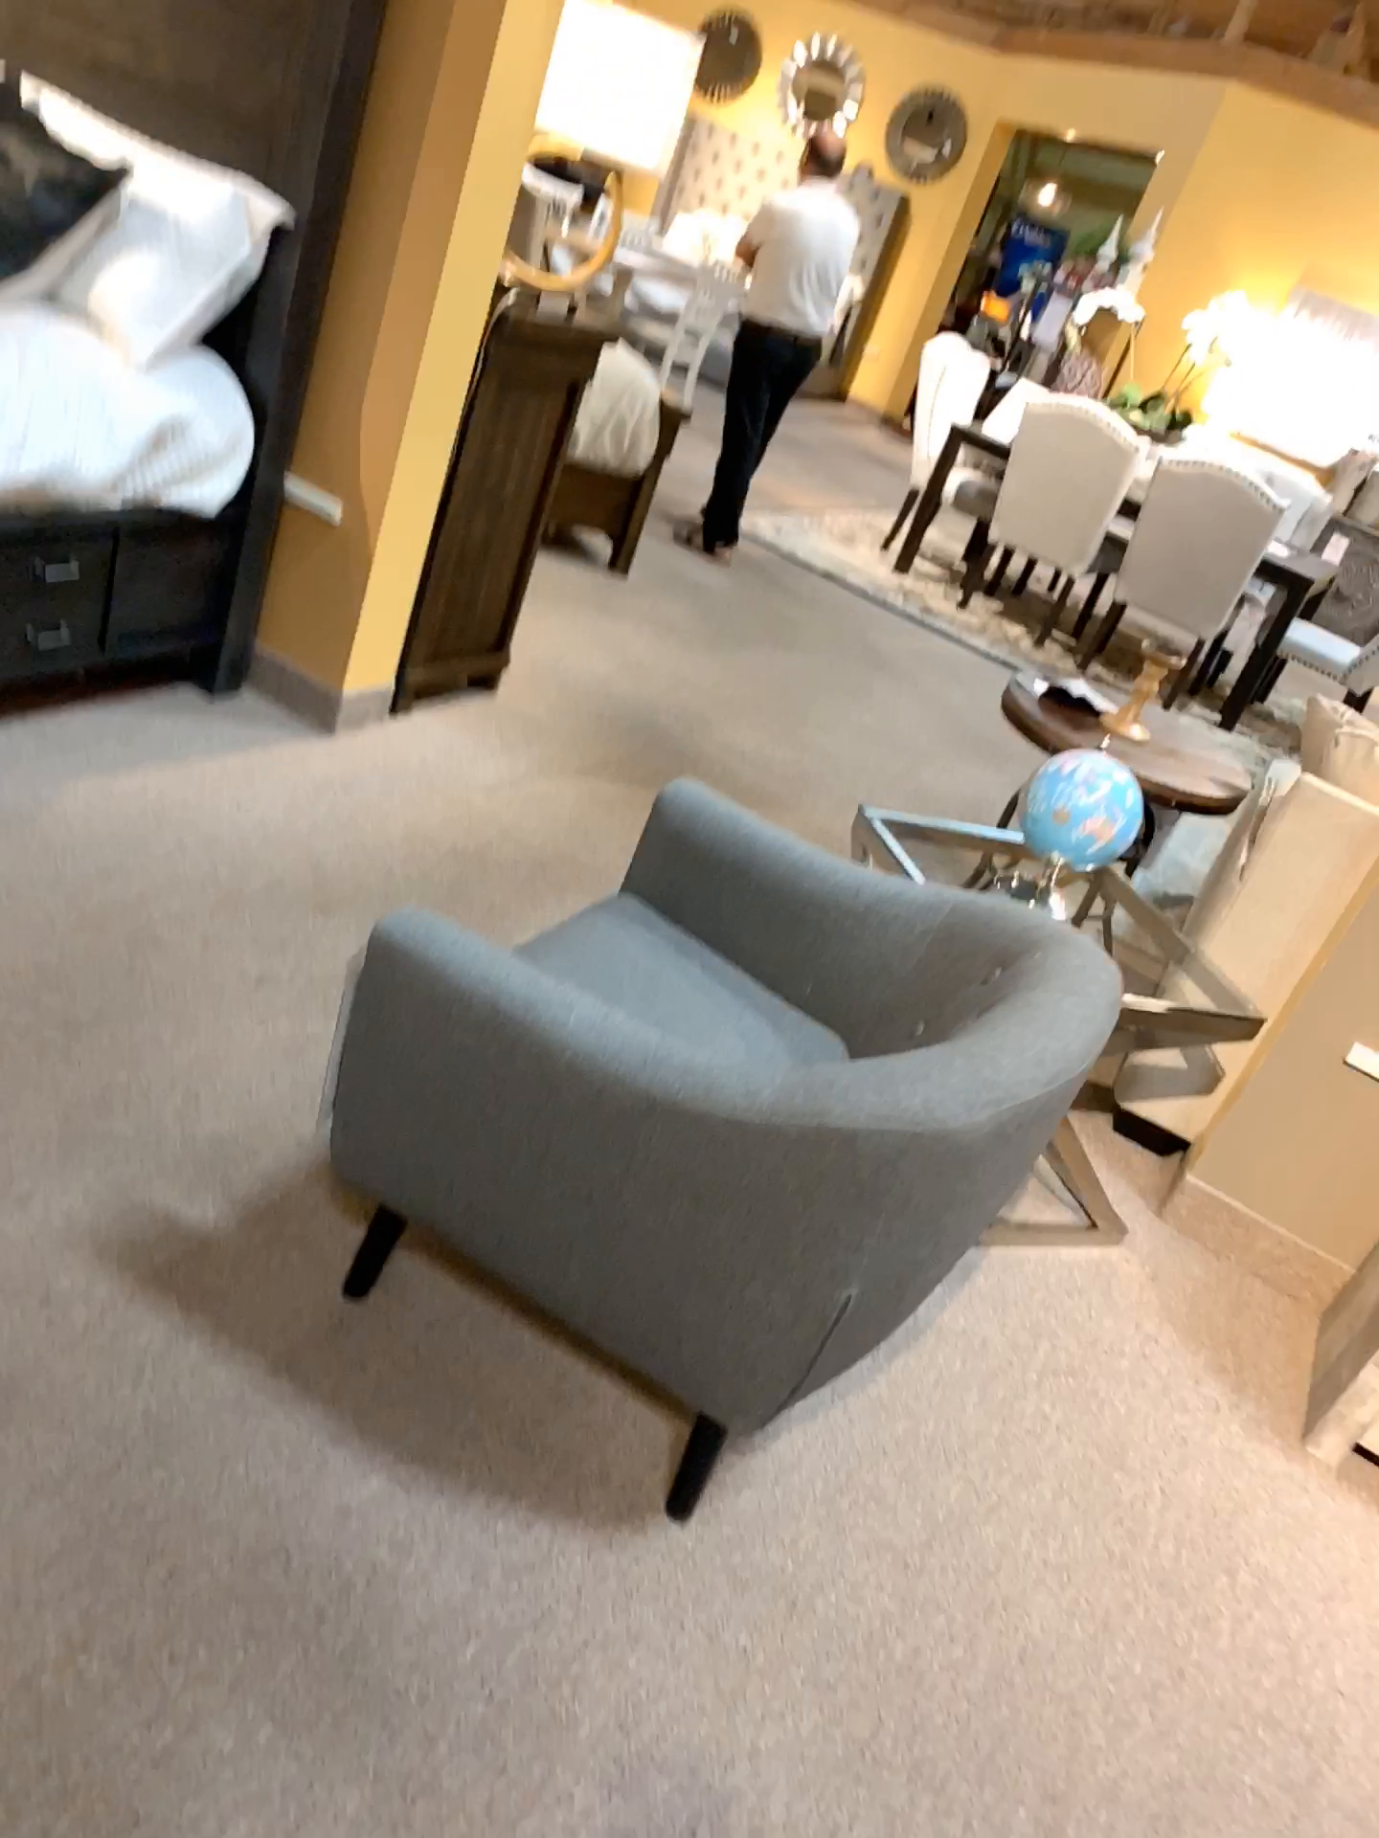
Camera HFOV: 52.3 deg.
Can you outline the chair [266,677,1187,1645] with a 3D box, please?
[{"bbox_3d":[0.063,0.218,1.805,0.741,0.702,0.750,30,28,17],"label":"chair"}]
